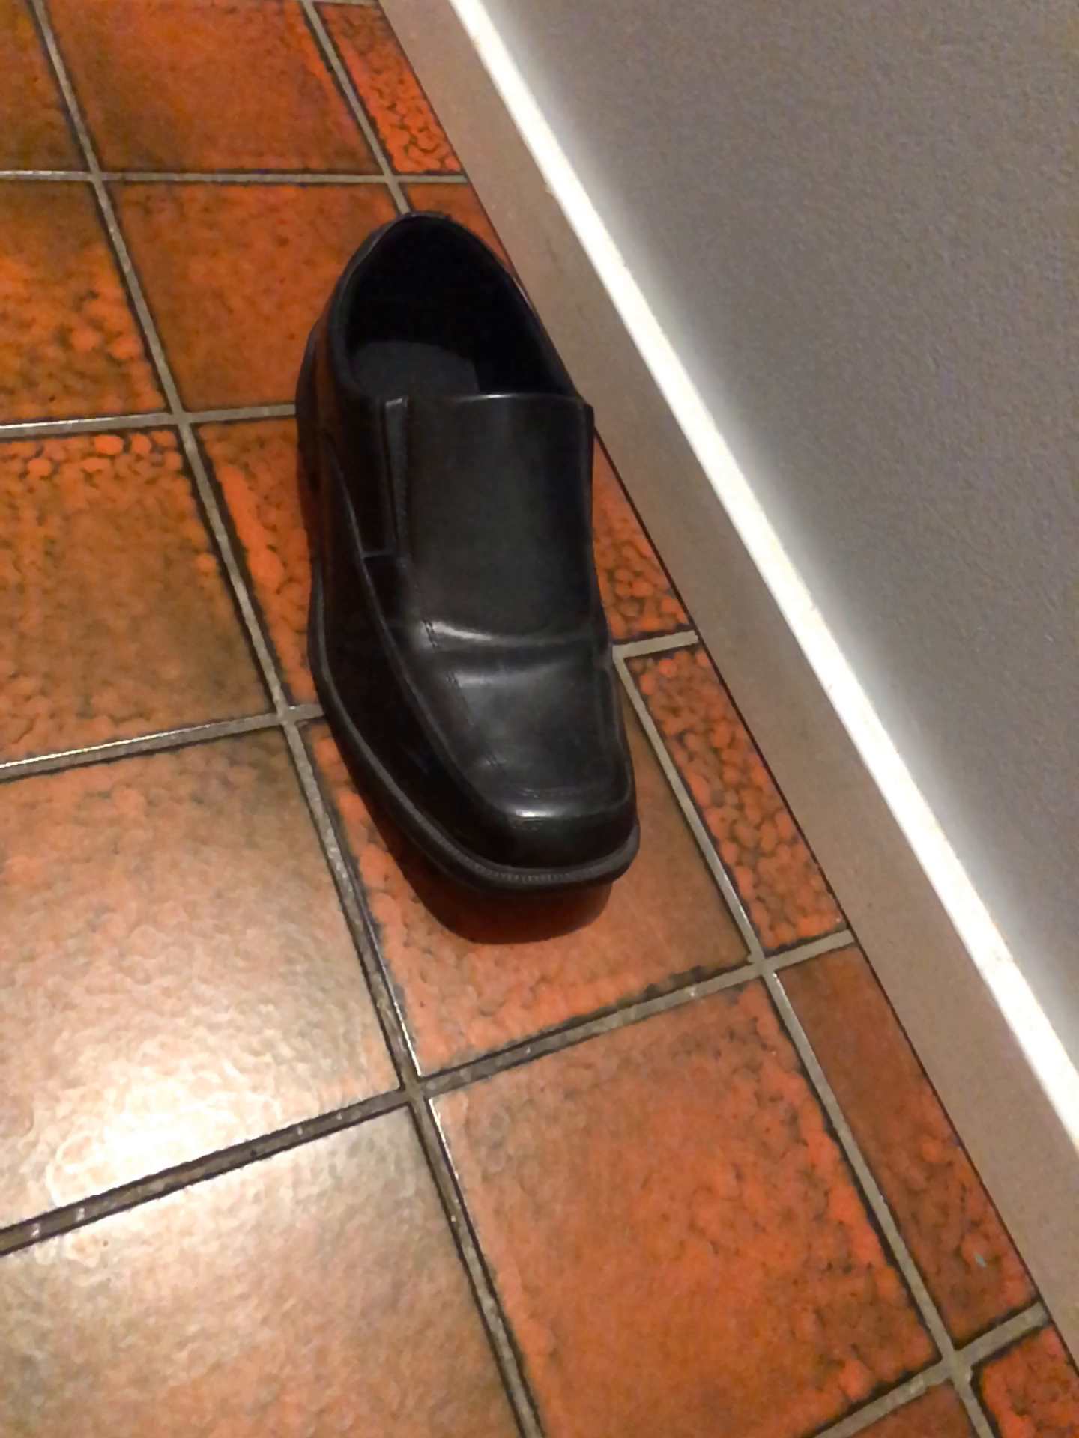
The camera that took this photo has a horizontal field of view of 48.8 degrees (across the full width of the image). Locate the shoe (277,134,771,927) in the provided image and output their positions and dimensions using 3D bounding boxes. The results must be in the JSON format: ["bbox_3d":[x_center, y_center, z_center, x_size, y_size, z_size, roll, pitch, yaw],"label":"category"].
[{"bbox_3d":[-0.024,-0.082,0.476,0.120,0.100,0.300,-1,62,-21],"label":"shoe"}]
